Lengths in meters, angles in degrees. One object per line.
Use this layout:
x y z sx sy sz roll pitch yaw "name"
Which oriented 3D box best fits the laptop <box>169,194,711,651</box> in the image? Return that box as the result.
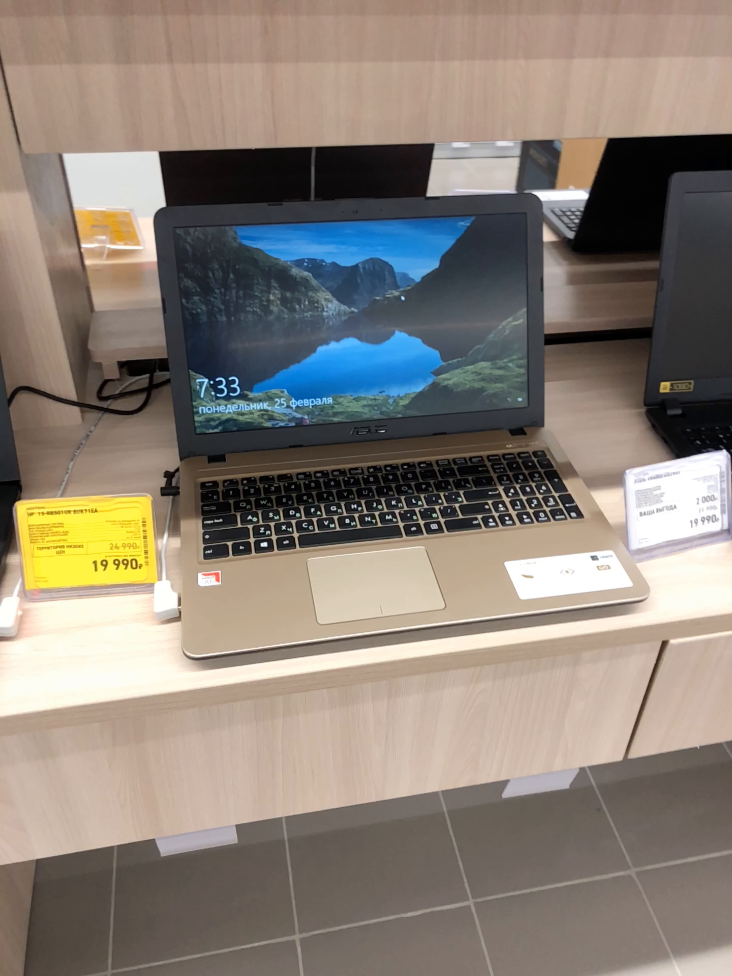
0.028 -0.089 0.716 0.366 0.208 0.351 -6 39 -10 "laptop"
